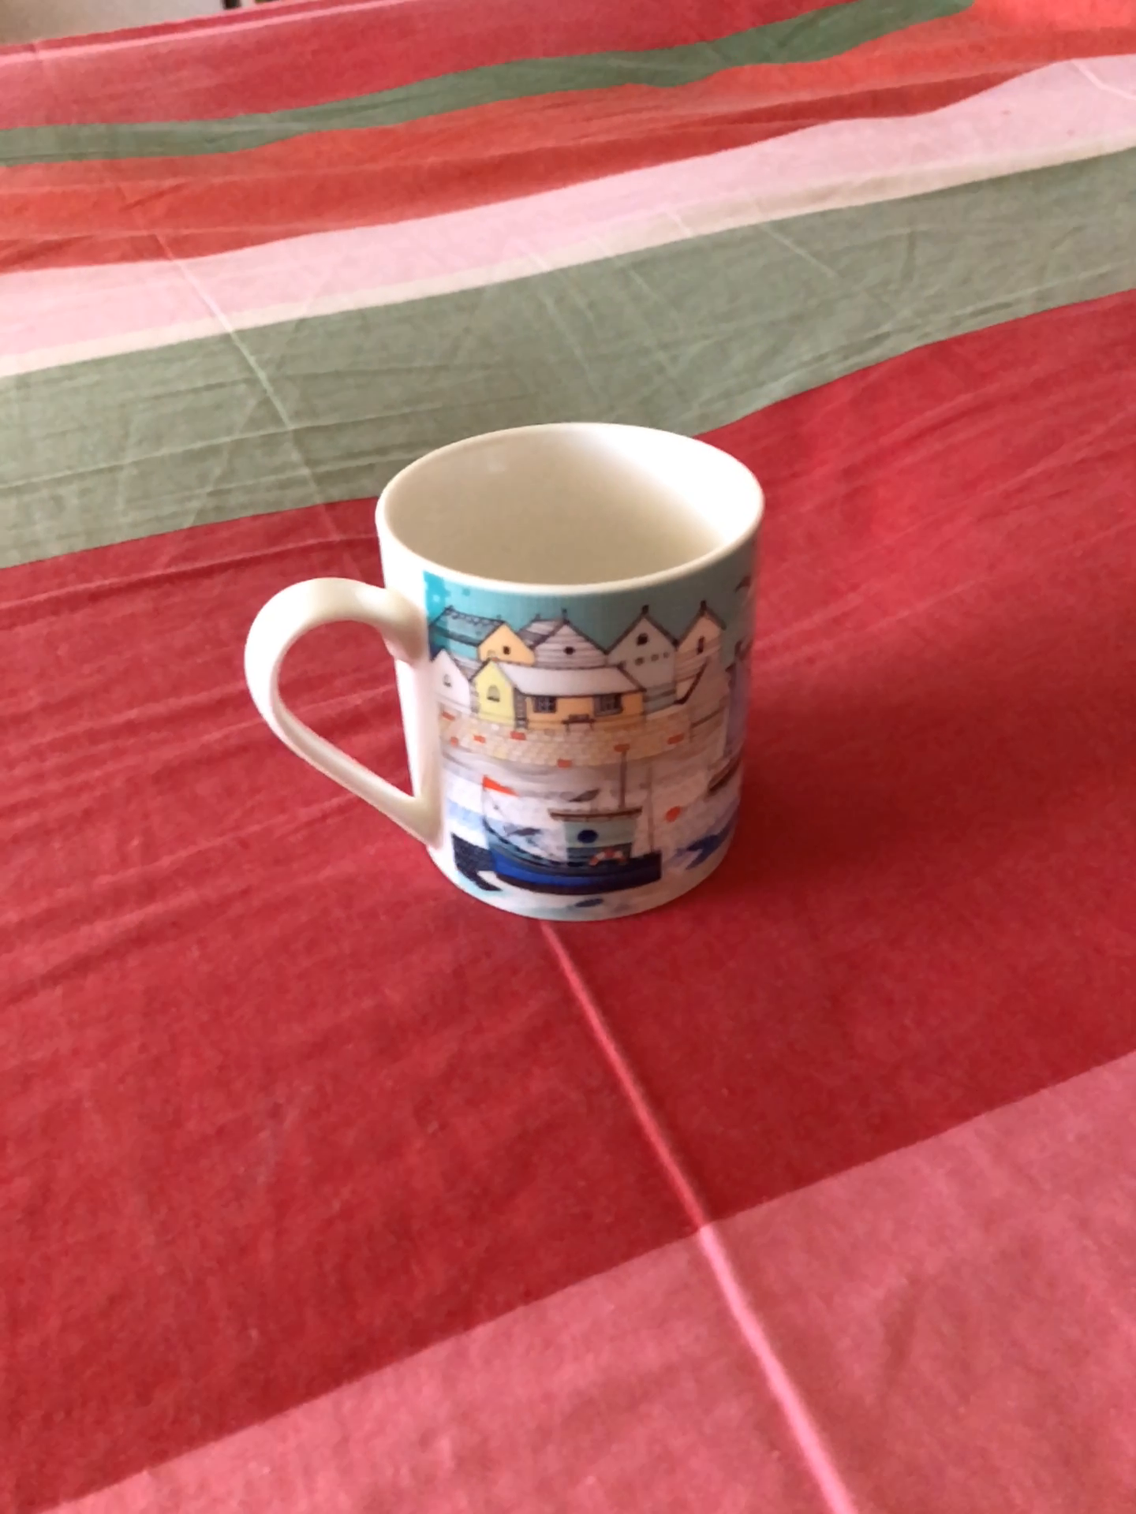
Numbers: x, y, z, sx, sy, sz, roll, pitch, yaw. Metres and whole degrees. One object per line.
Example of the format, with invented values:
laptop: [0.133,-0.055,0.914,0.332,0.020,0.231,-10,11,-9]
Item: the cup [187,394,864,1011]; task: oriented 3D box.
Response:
cup: [-0.013,-0.019,0.291,0.120,0.080,0.094,-15,38,-15]
